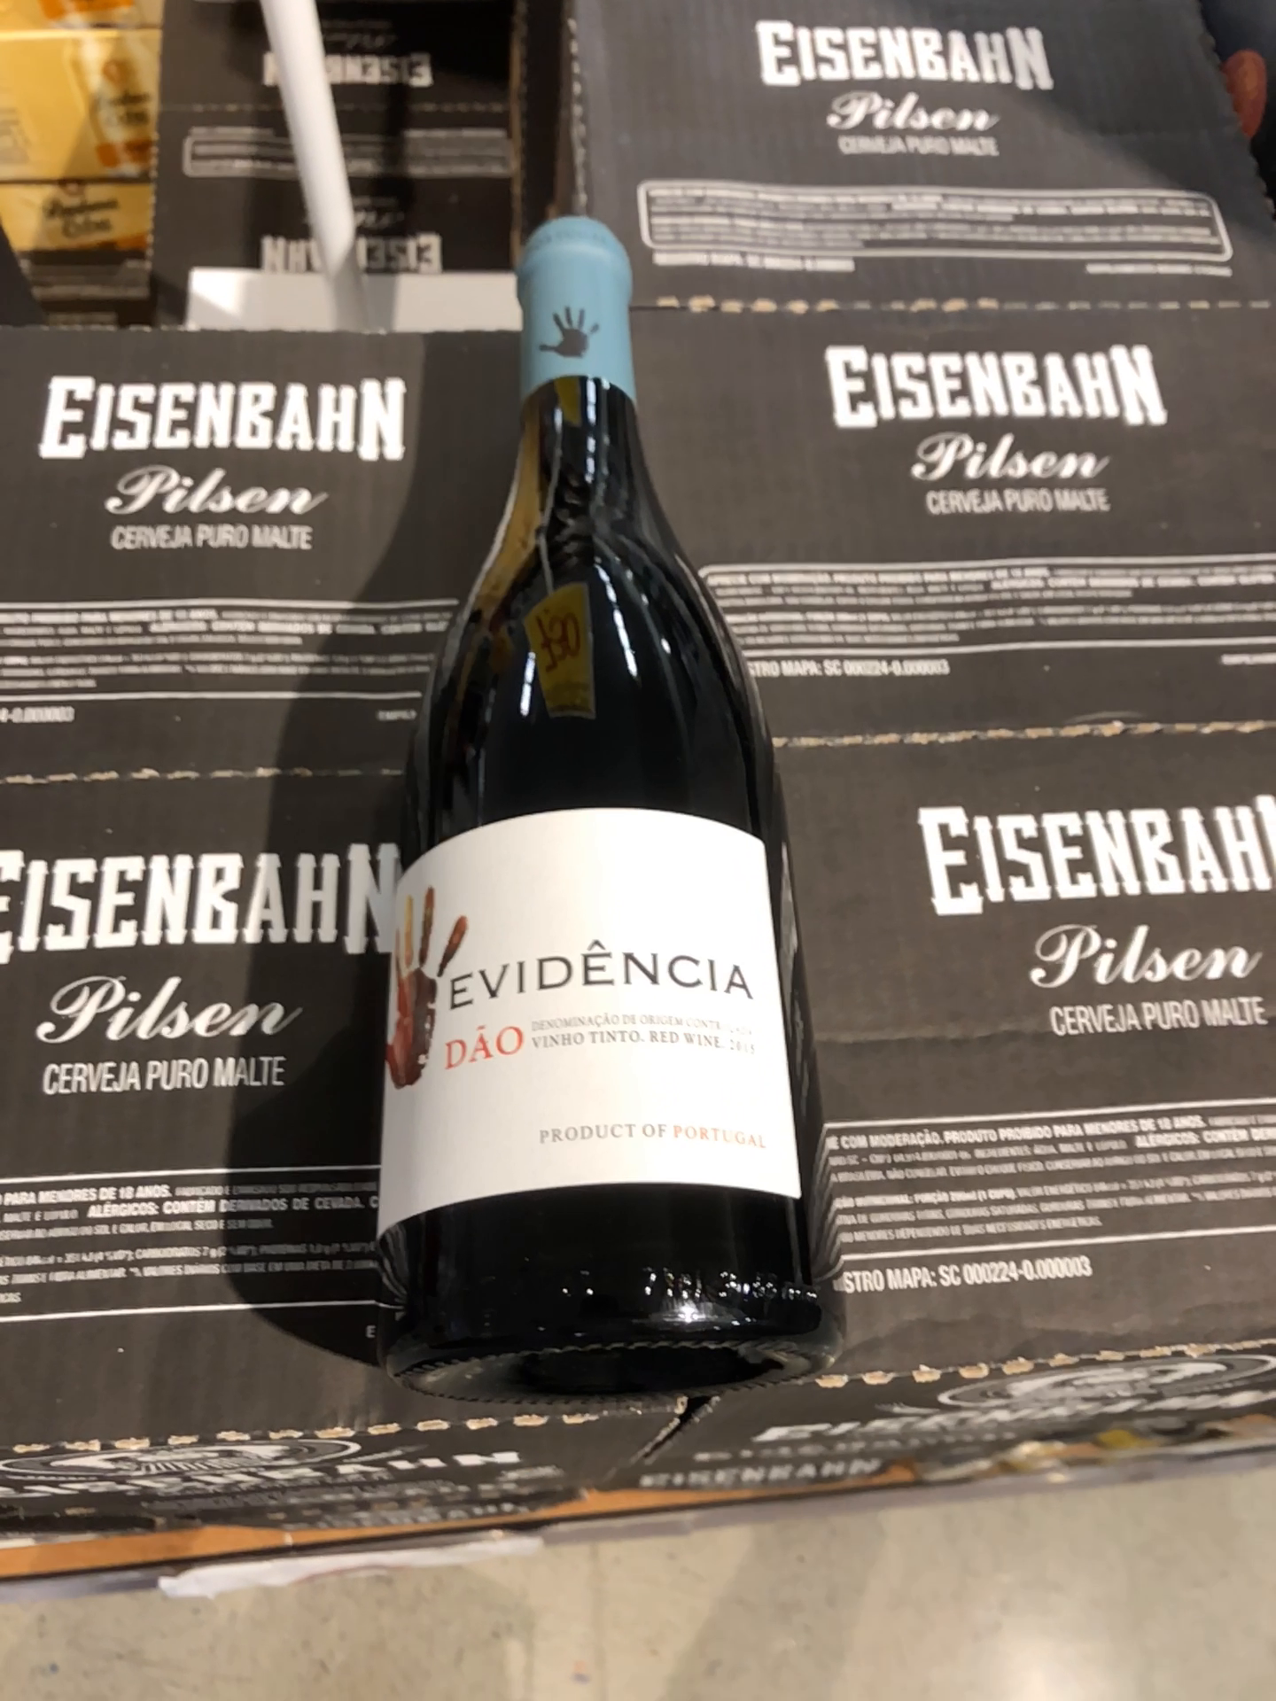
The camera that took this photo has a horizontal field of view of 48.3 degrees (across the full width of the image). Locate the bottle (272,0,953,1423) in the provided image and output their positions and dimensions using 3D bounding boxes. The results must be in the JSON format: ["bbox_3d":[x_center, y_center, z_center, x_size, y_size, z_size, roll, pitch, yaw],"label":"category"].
[{"bbox_3d":[-0.014,-0.055,0.318,0.100,0.090,0.331,-2,65,-4],"label":"bottle"}]
